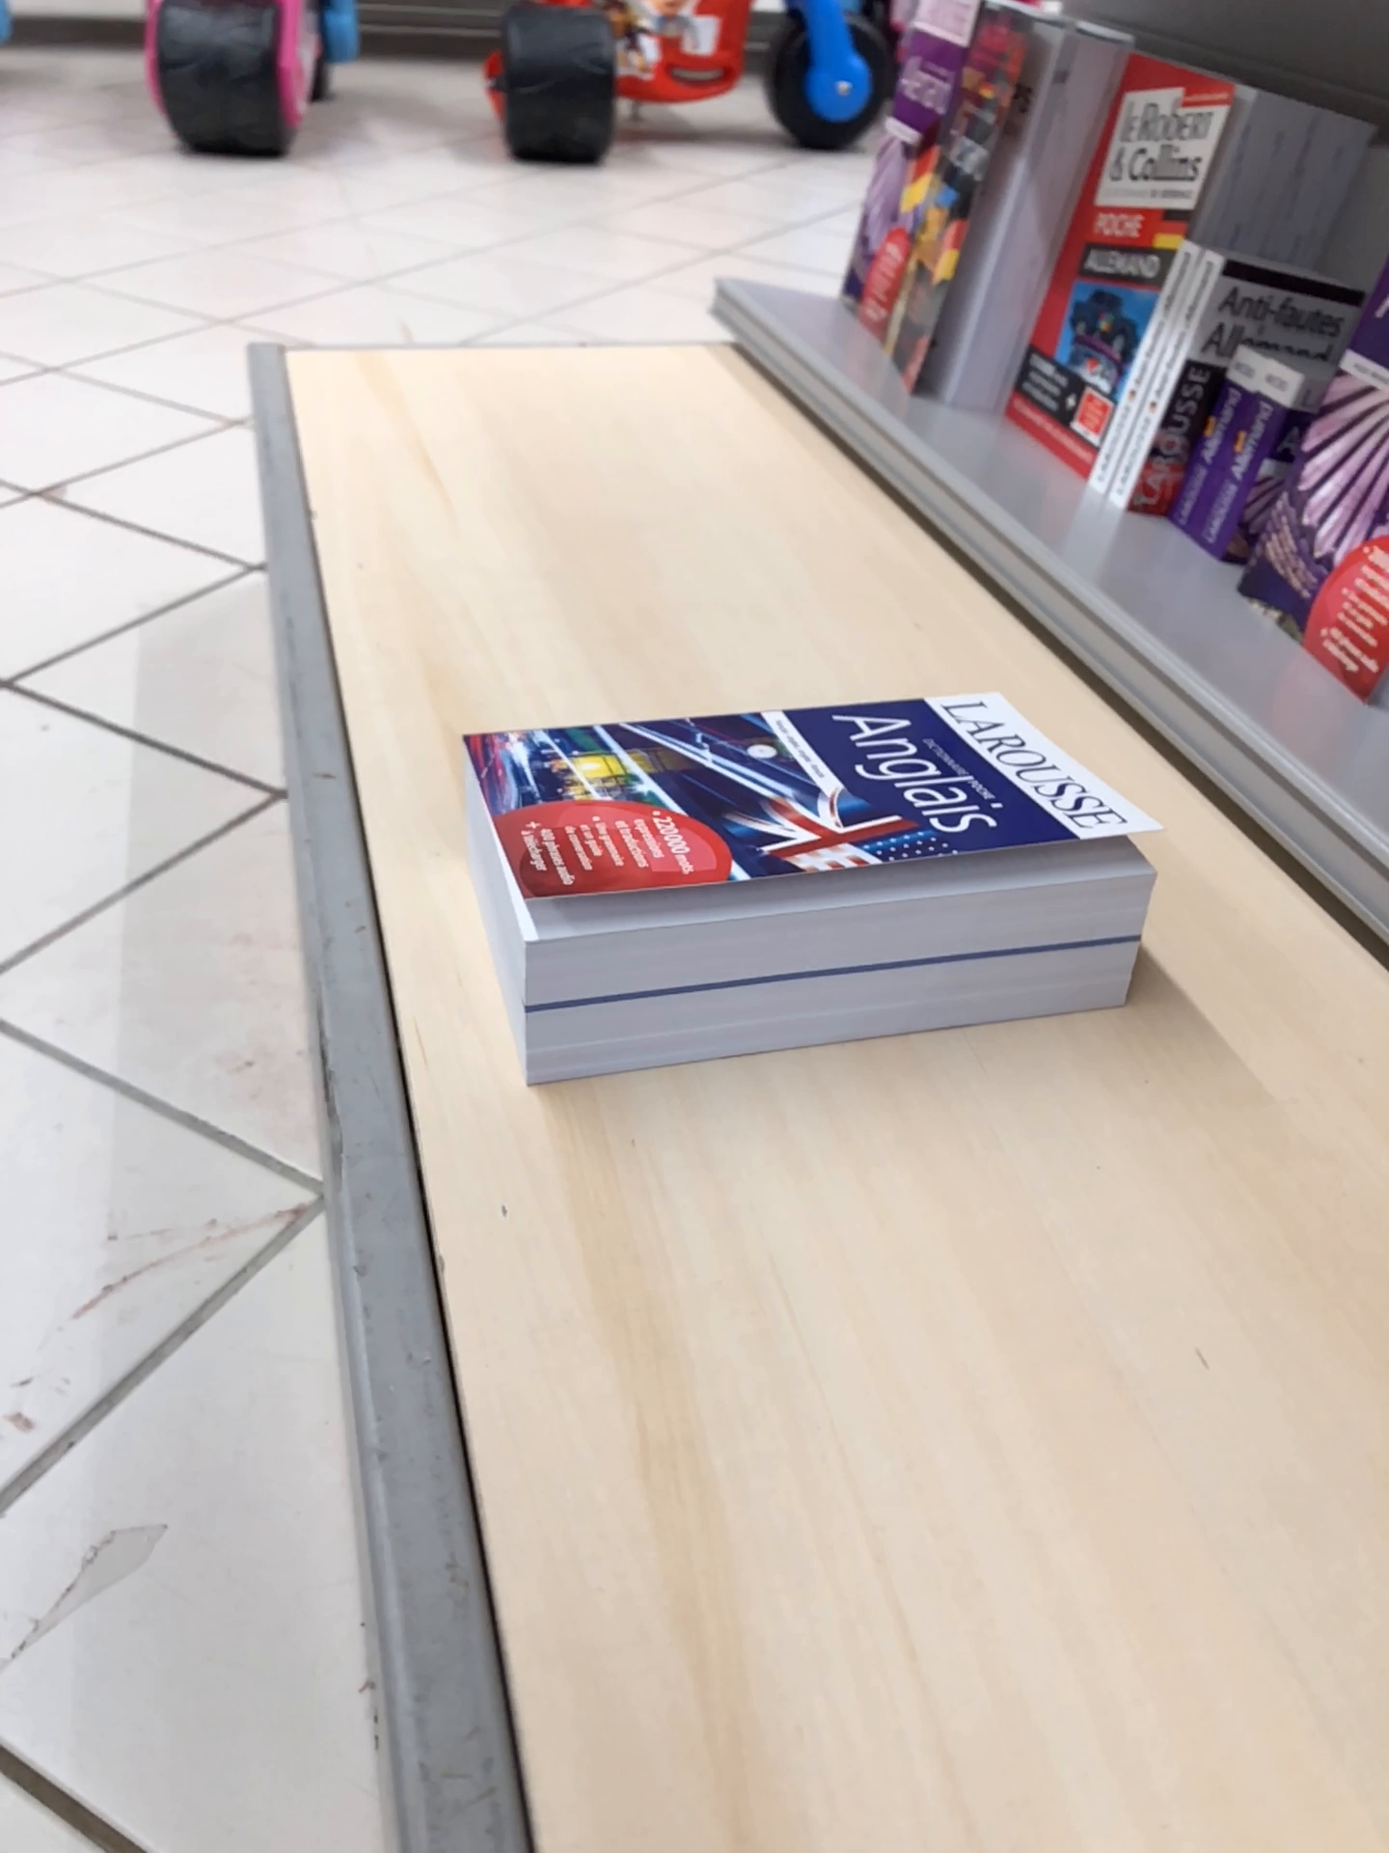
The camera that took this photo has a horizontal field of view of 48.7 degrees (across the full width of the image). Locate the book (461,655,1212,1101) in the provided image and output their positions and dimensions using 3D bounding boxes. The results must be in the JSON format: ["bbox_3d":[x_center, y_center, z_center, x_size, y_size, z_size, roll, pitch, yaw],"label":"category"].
[{"bbox_3d":[0.032,-0.021,0.441,0.181,0.054,0.118,-6,37,-13],"label":"book"}]
